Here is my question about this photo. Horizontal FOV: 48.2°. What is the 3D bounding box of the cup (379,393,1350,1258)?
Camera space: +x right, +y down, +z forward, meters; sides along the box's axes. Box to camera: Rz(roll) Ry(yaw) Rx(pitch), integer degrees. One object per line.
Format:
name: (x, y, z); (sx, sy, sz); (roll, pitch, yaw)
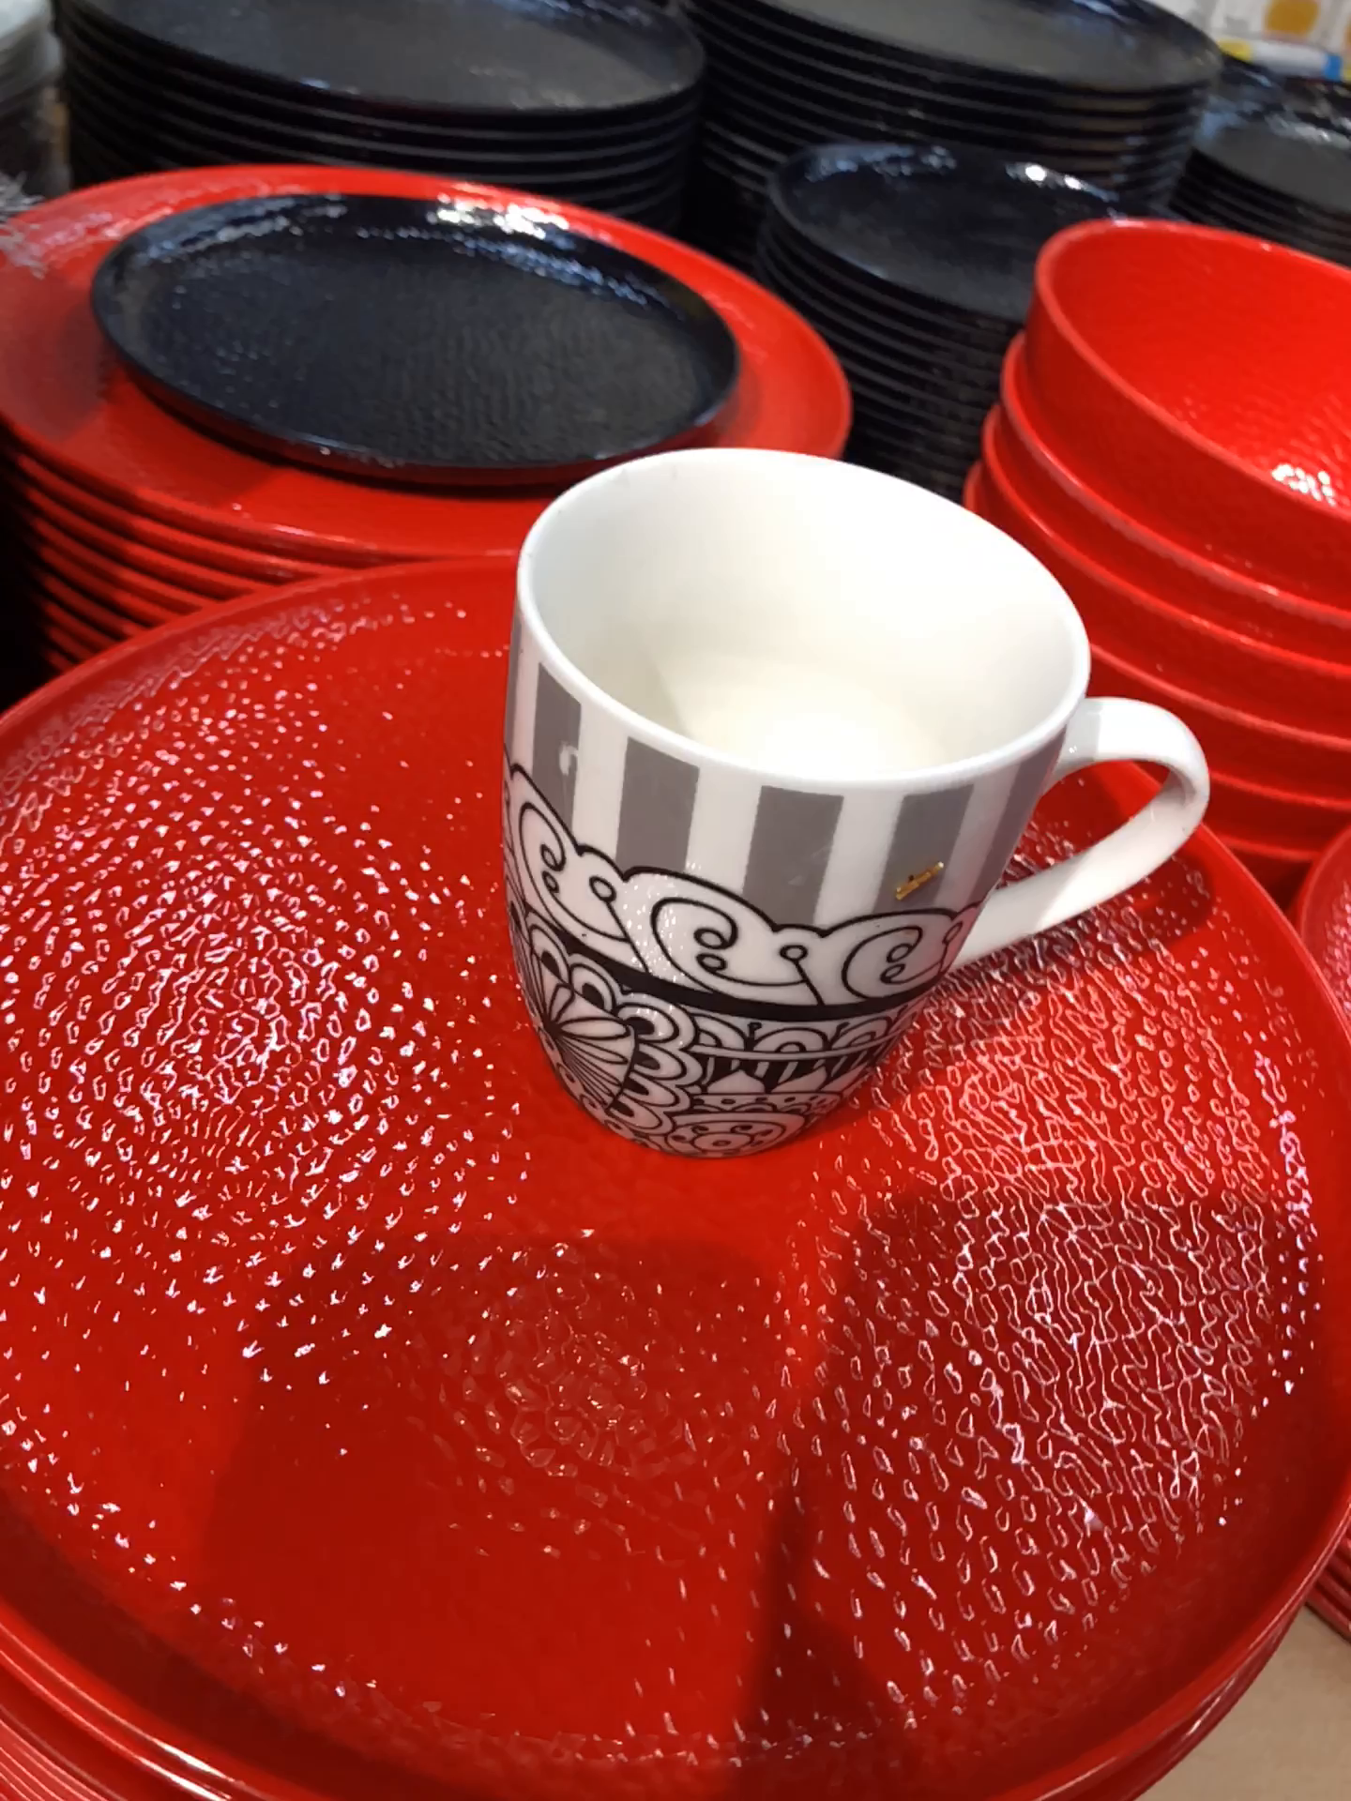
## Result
cup: (0.018, -0.008, 0.237); (0.120, 0.099, 0.081); (3, 42, -9)
